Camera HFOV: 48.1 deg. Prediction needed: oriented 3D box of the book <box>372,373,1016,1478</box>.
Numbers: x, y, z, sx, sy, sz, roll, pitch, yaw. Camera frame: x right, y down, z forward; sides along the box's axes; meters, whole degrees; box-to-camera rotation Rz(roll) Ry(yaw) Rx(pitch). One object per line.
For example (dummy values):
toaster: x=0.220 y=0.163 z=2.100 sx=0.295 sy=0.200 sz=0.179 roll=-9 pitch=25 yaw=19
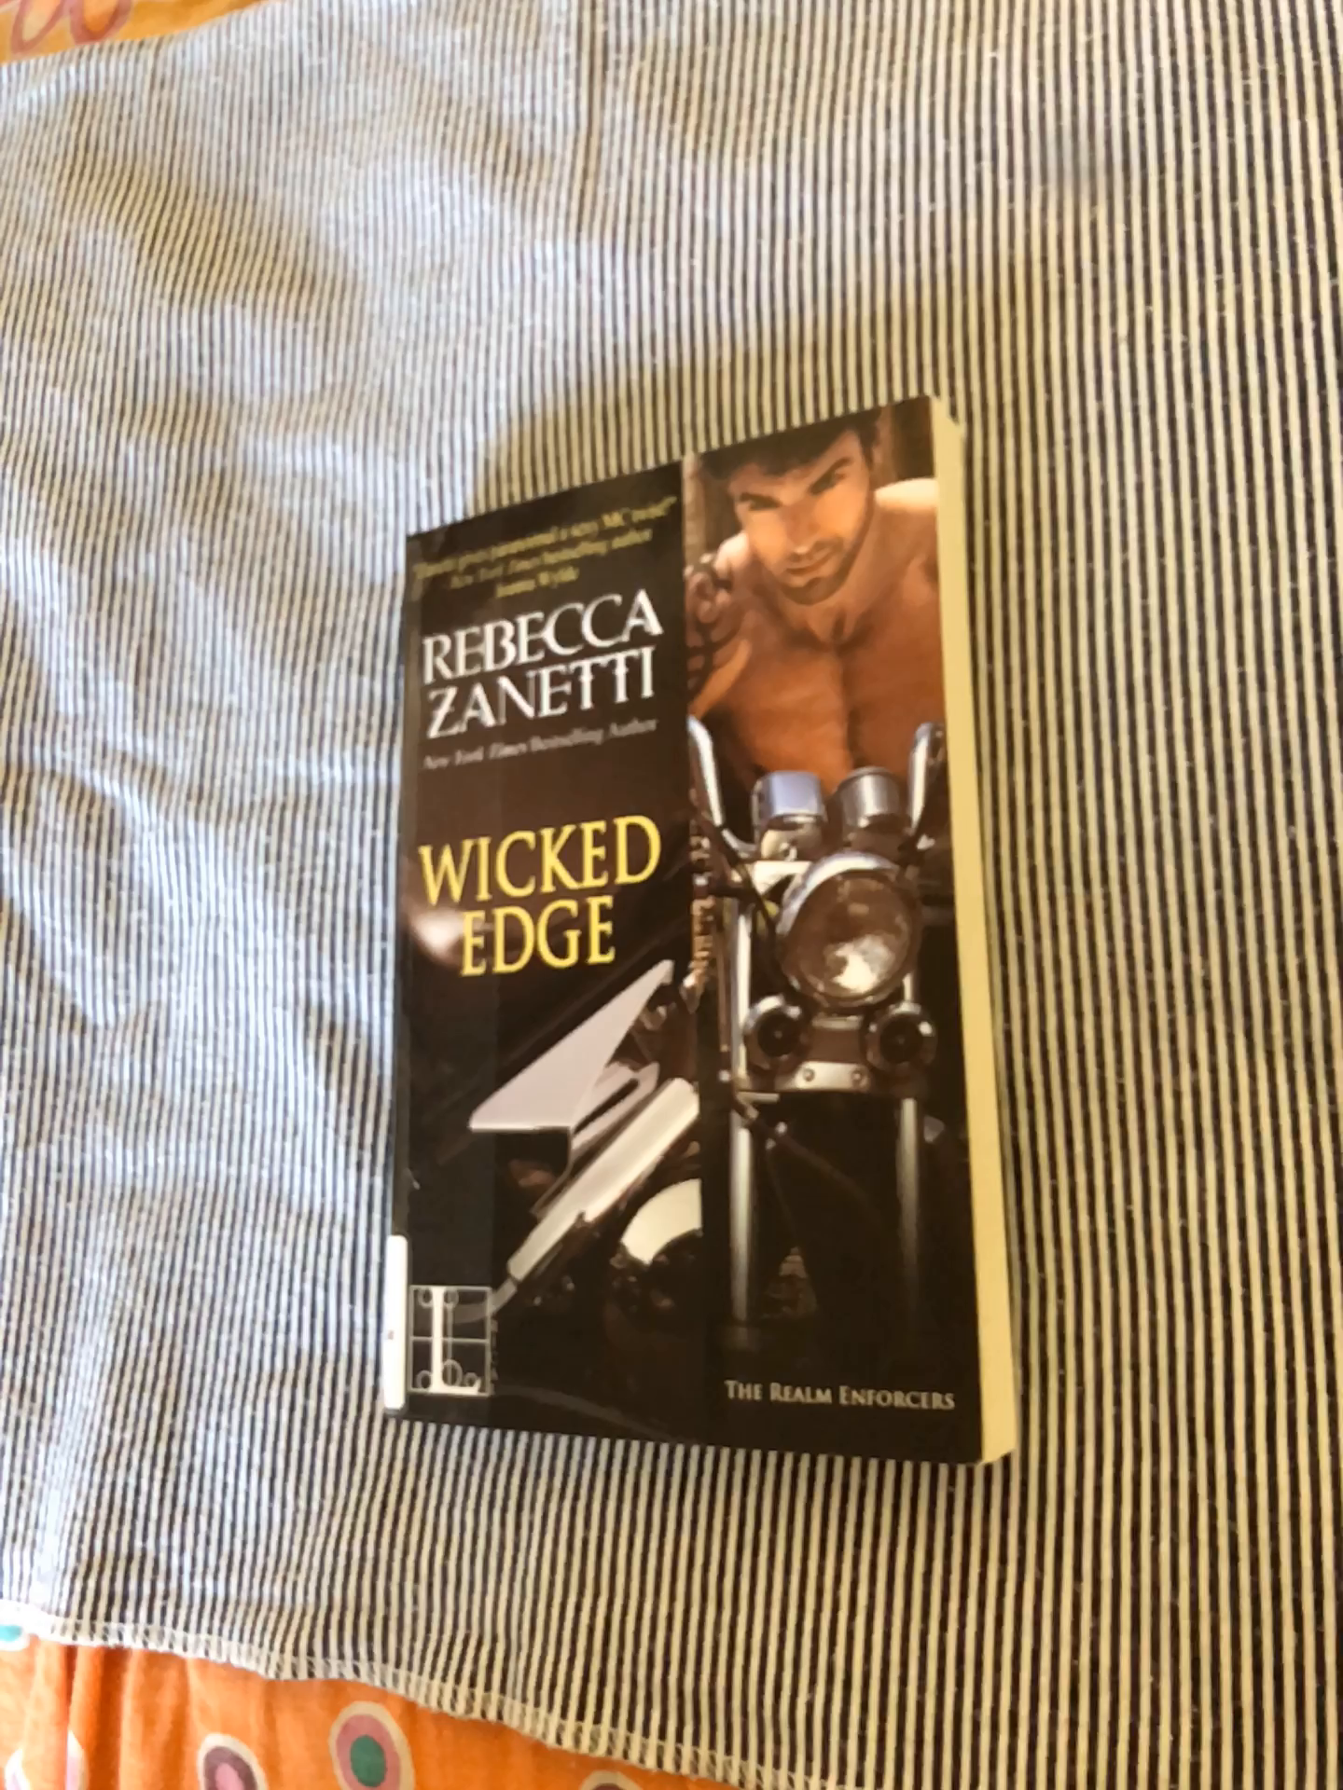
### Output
book: x=0.000 y=0.007 z=0.334 sx=0.137 sy=0.030 sz=0.215 roll=-5 pitch=79 yaw=27
